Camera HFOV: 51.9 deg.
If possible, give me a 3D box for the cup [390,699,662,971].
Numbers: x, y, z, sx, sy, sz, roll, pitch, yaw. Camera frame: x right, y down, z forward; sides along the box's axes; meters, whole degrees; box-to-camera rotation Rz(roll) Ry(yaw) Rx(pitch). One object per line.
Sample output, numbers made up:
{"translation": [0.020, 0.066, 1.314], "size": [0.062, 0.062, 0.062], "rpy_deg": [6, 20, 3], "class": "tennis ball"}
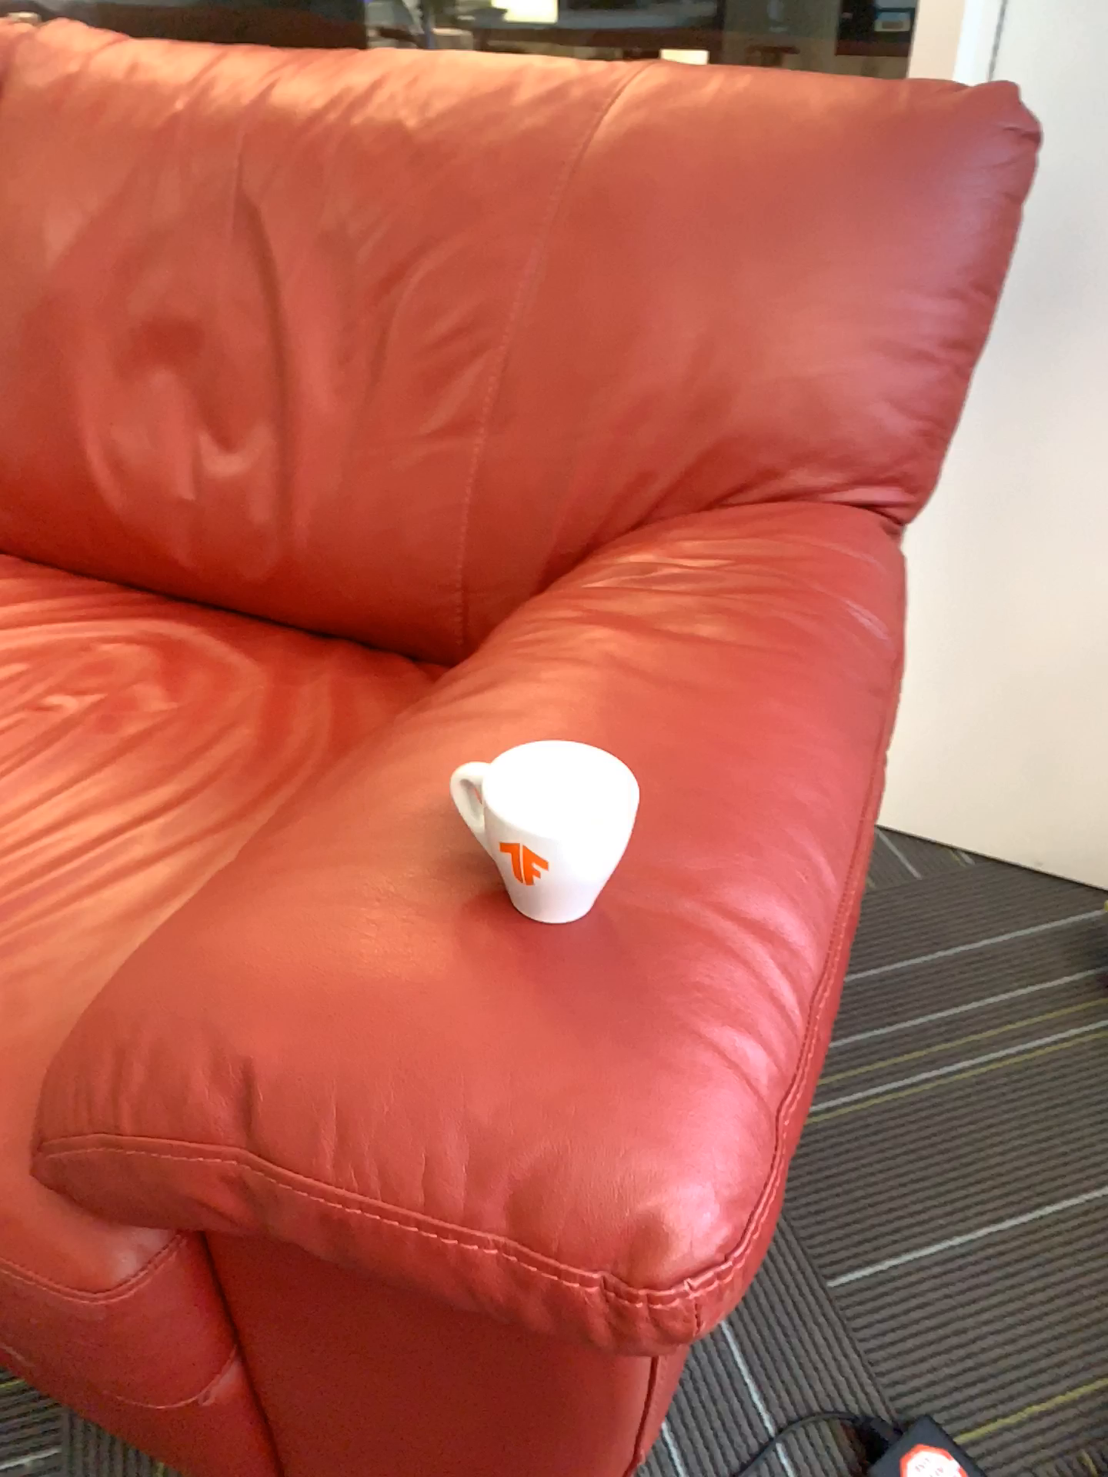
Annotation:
{"translation": [-0.012, 0.037, 0.469], "size": [0.090, 0.060, 0.060], "rpy_deg": [23, 41, 29], "class": "cup"}
